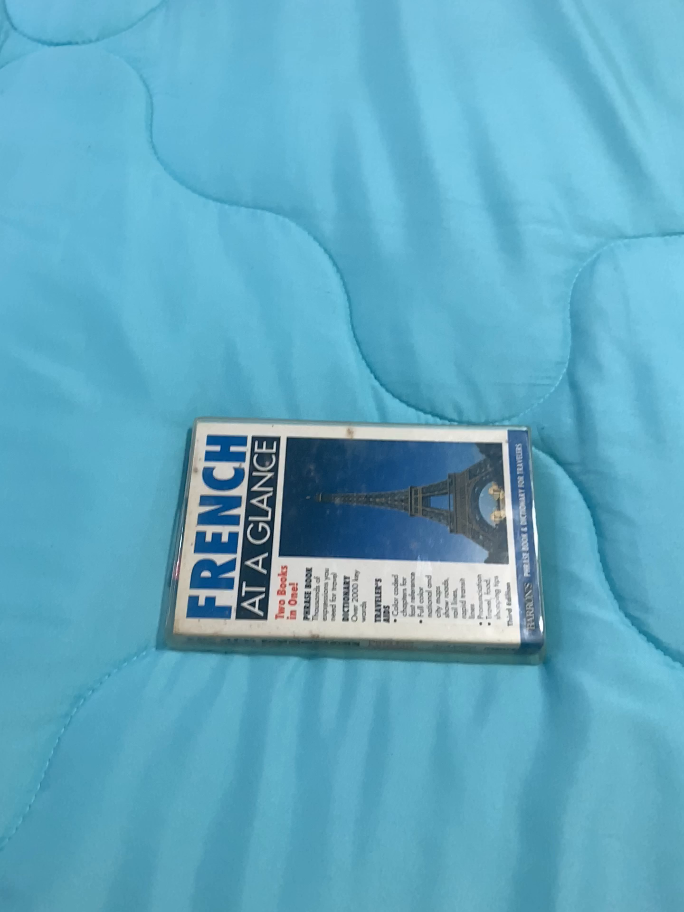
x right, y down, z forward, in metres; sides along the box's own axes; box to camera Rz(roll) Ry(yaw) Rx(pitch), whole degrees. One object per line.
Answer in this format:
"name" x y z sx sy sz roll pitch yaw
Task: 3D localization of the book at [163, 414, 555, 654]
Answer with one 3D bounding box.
"book" 0.007 0.032 0.302 0.154 0.017 0.099 1 69 0
